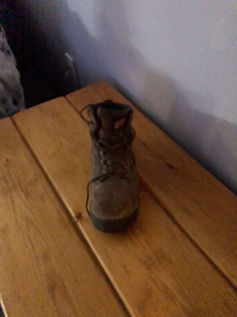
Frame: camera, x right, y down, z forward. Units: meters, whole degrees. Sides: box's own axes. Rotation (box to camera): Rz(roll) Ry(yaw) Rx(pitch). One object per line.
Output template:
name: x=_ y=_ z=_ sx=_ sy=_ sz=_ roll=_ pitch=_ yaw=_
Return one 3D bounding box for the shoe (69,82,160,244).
shoe: x=-0.017 y=-0.007 z=0.516 sx=0.130 sy=0.130 sz=0.291 roll=-6 pitch=49 yaw=-2
